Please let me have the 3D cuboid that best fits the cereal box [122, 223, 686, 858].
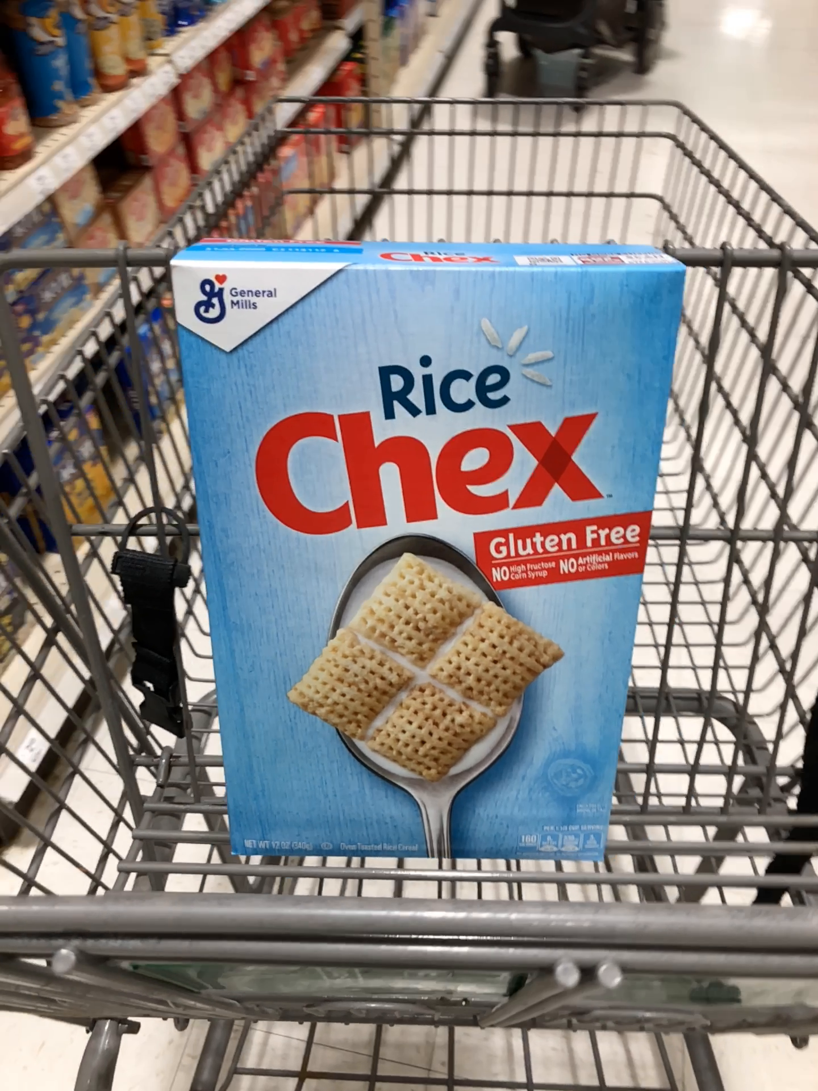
[{"bbox_3d":[-0.002,0.010,0.411,0.200,0.290,0.060,0,26,0],"label":"cereal box"}]
